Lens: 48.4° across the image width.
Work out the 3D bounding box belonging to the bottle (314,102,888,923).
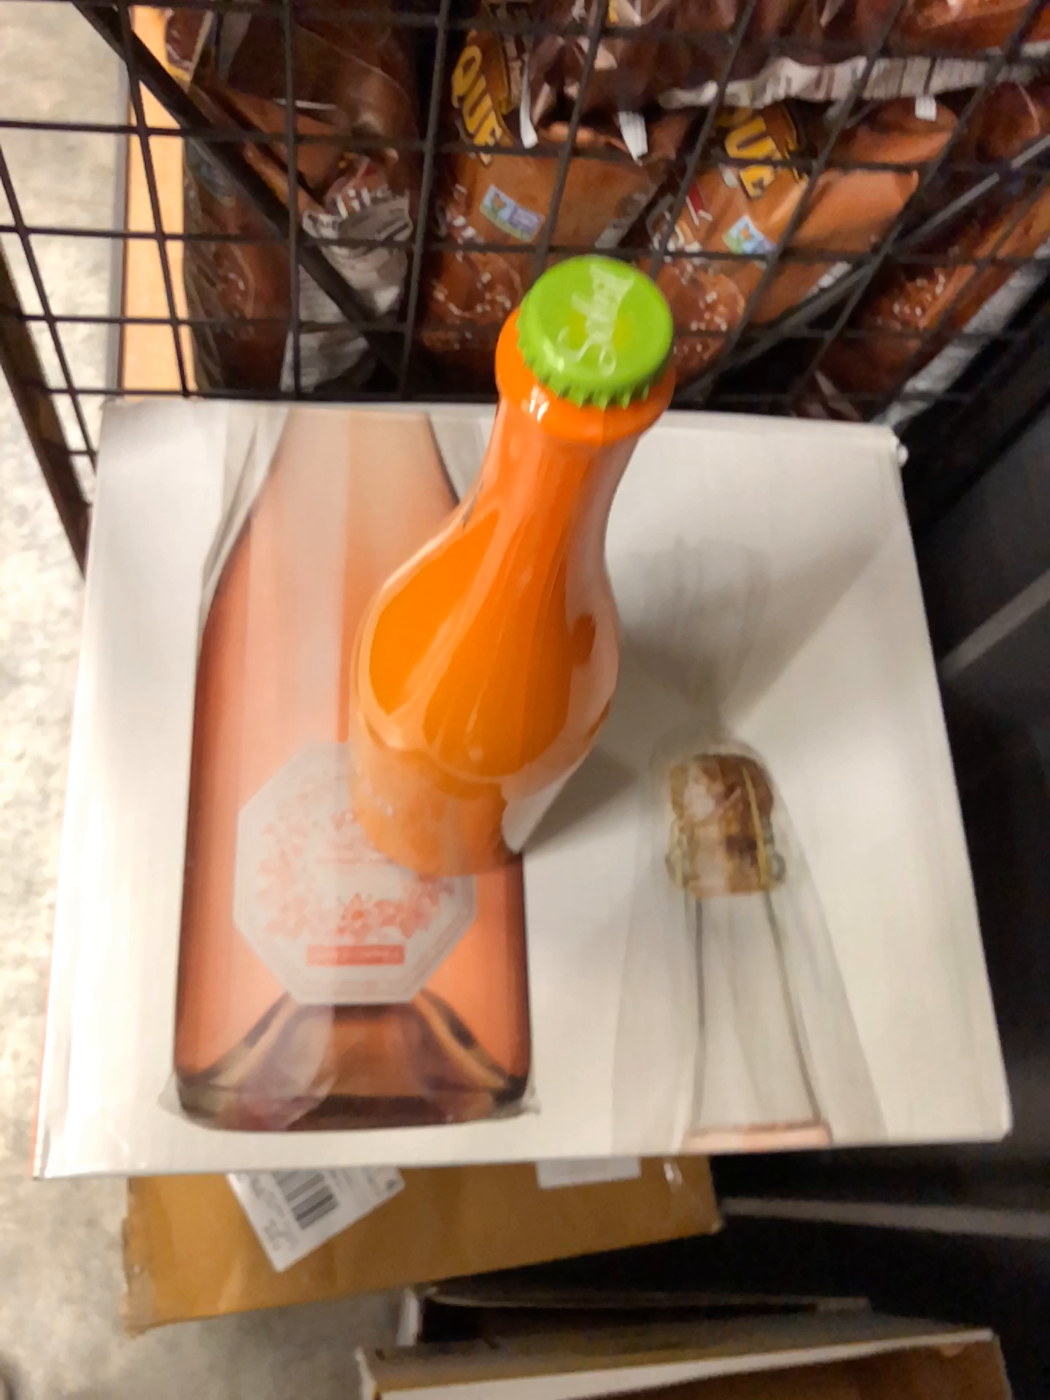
[{"bbox_3d":[-0.012,-0.013,0.327,0.090,0.280,0.090,4,67,-9],"label":"bottle"}]
